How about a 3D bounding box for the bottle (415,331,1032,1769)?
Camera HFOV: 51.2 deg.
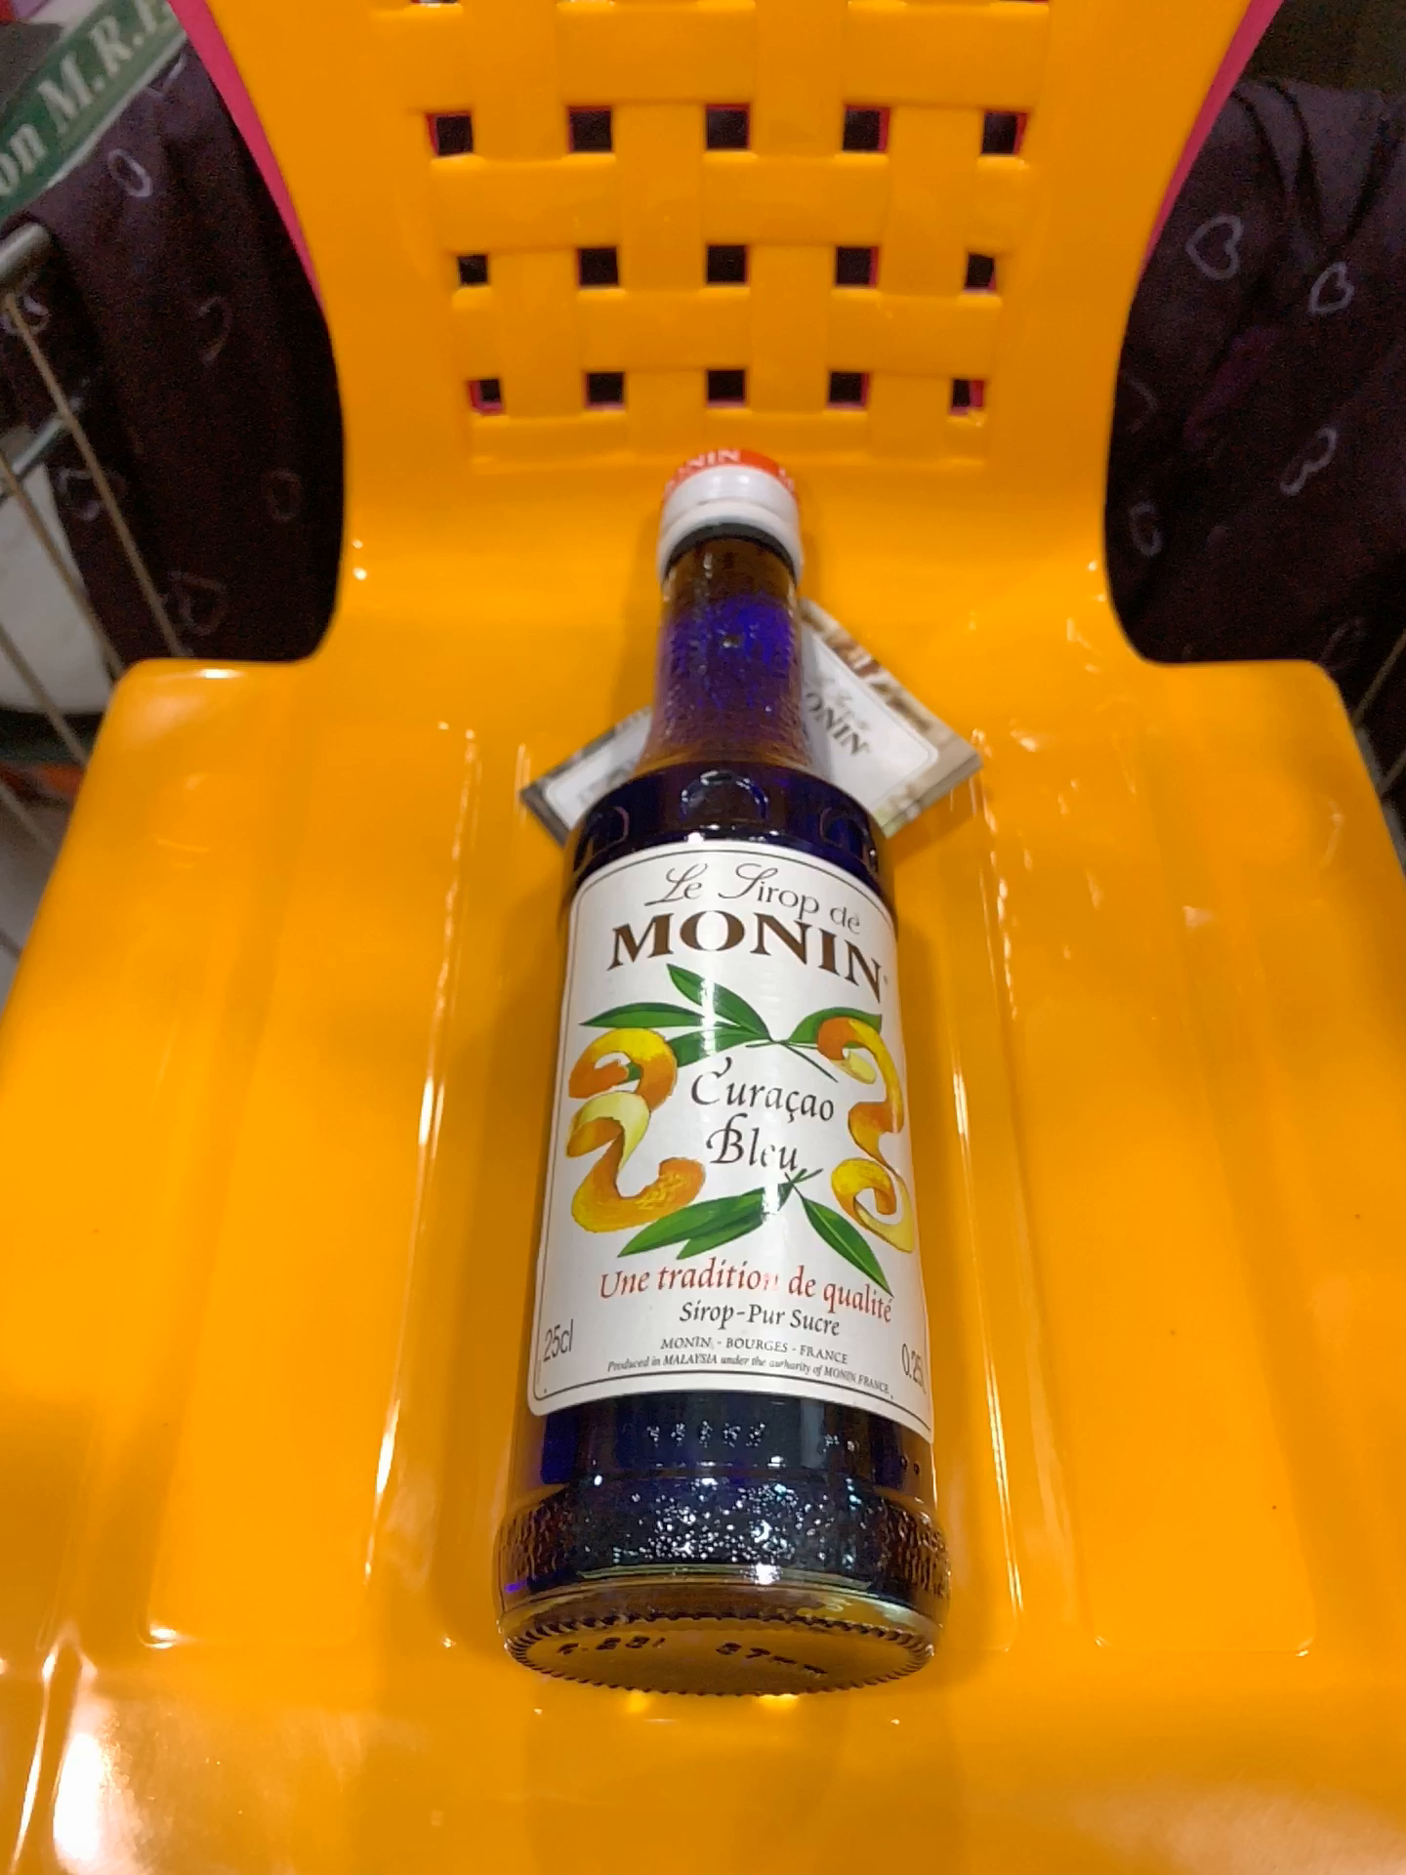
[{"bbox_3d":[0.004,-0.003,0.225,0.060,0.050,0.220,6,55,-4],"label":"bottle"}]
